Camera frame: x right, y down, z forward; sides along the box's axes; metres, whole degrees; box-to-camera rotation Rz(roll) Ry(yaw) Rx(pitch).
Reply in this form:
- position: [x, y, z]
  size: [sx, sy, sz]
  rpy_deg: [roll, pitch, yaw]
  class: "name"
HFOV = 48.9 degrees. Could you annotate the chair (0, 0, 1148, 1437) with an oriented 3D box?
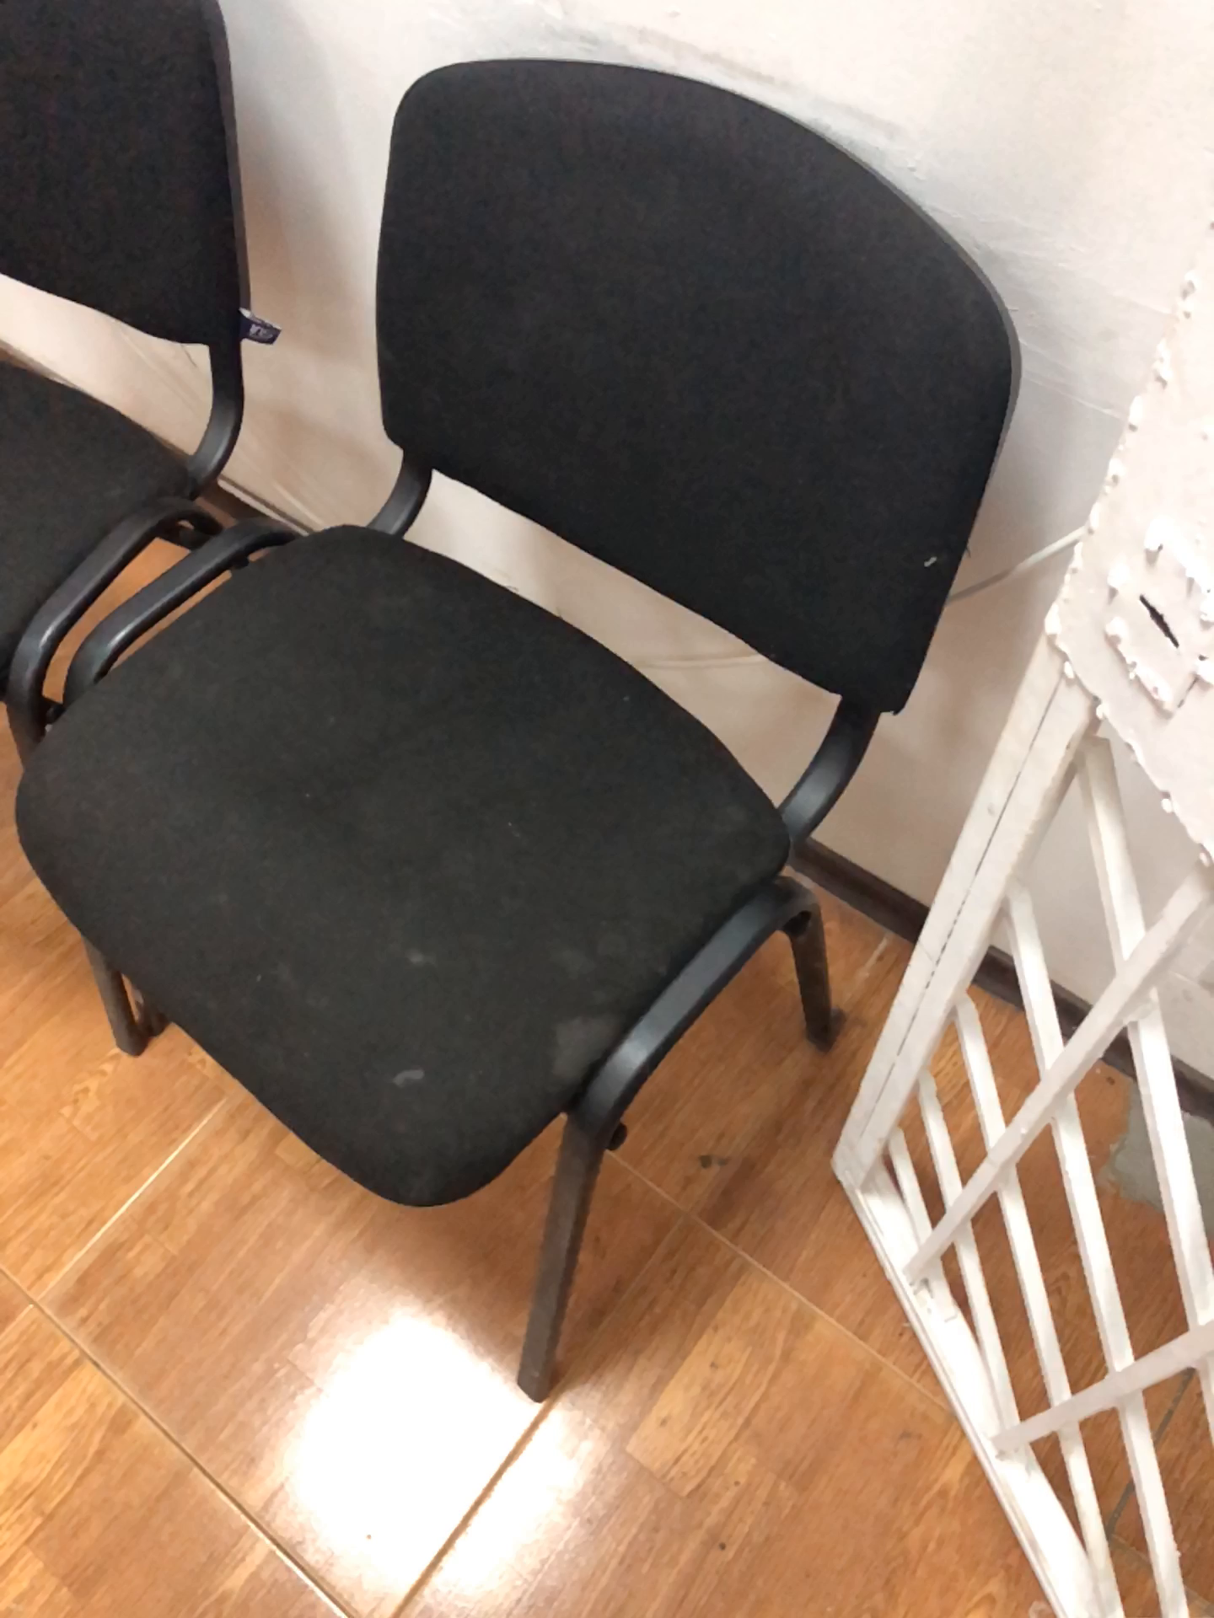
- position: [-0.111, -0.023, 0.900]
  size: [0.520, 0.748, 0.511]
  rpy_deg: [33, 65, 20]
  class: "chair"
